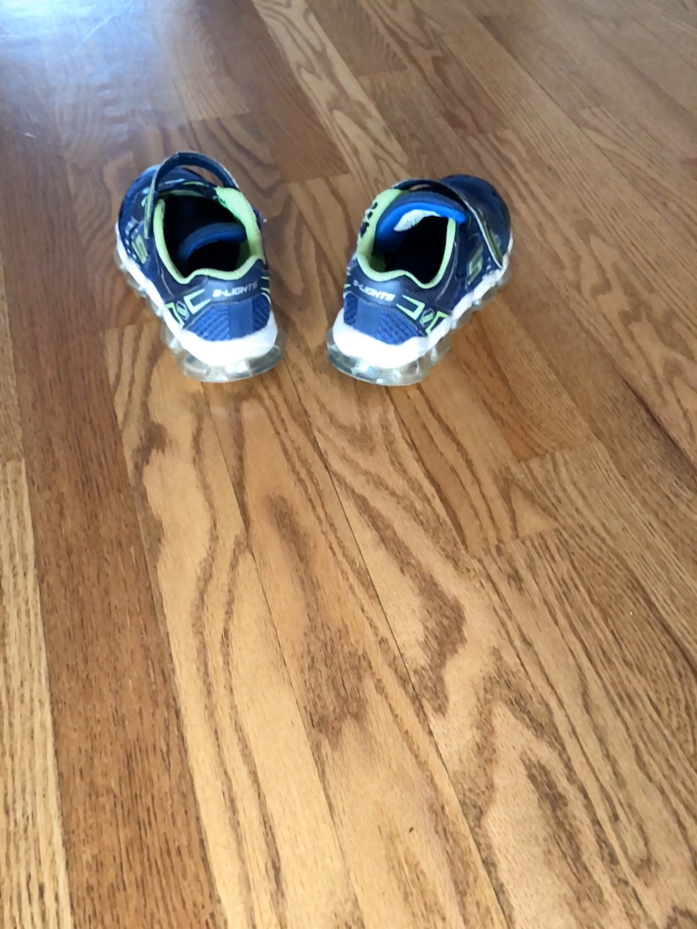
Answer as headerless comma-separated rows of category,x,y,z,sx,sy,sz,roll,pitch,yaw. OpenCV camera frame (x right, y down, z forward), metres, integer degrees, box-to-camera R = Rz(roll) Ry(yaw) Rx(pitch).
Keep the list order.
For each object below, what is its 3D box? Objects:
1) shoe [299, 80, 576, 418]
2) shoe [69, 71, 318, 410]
shoe,0.060,-0.146,0.494,0.093,0.087,0.213,22,55,14
shoe,-0.101,-0.150,0.493,0.093,0.095,0.203,-17,56,-15
